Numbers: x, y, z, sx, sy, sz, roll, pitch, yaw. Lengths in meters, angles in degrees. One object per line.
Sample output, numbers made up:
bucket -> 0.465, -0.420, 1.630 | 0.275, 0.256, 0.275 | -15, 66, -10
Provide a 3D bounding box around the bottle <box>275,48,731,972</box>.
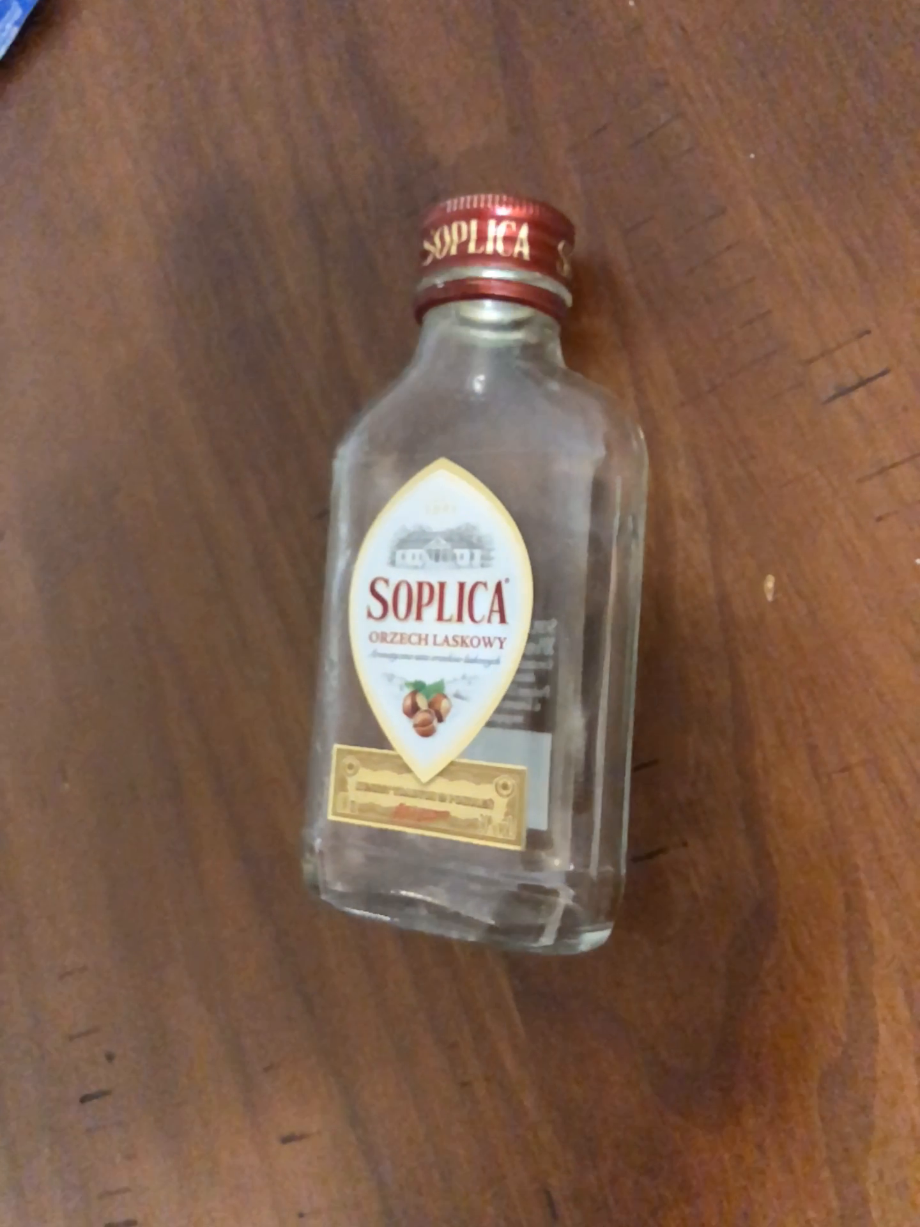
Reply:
bottle -> 0.008, -0.019, 0.197 | 0.070, 0.030, 0.150 | 1, 84, 31
